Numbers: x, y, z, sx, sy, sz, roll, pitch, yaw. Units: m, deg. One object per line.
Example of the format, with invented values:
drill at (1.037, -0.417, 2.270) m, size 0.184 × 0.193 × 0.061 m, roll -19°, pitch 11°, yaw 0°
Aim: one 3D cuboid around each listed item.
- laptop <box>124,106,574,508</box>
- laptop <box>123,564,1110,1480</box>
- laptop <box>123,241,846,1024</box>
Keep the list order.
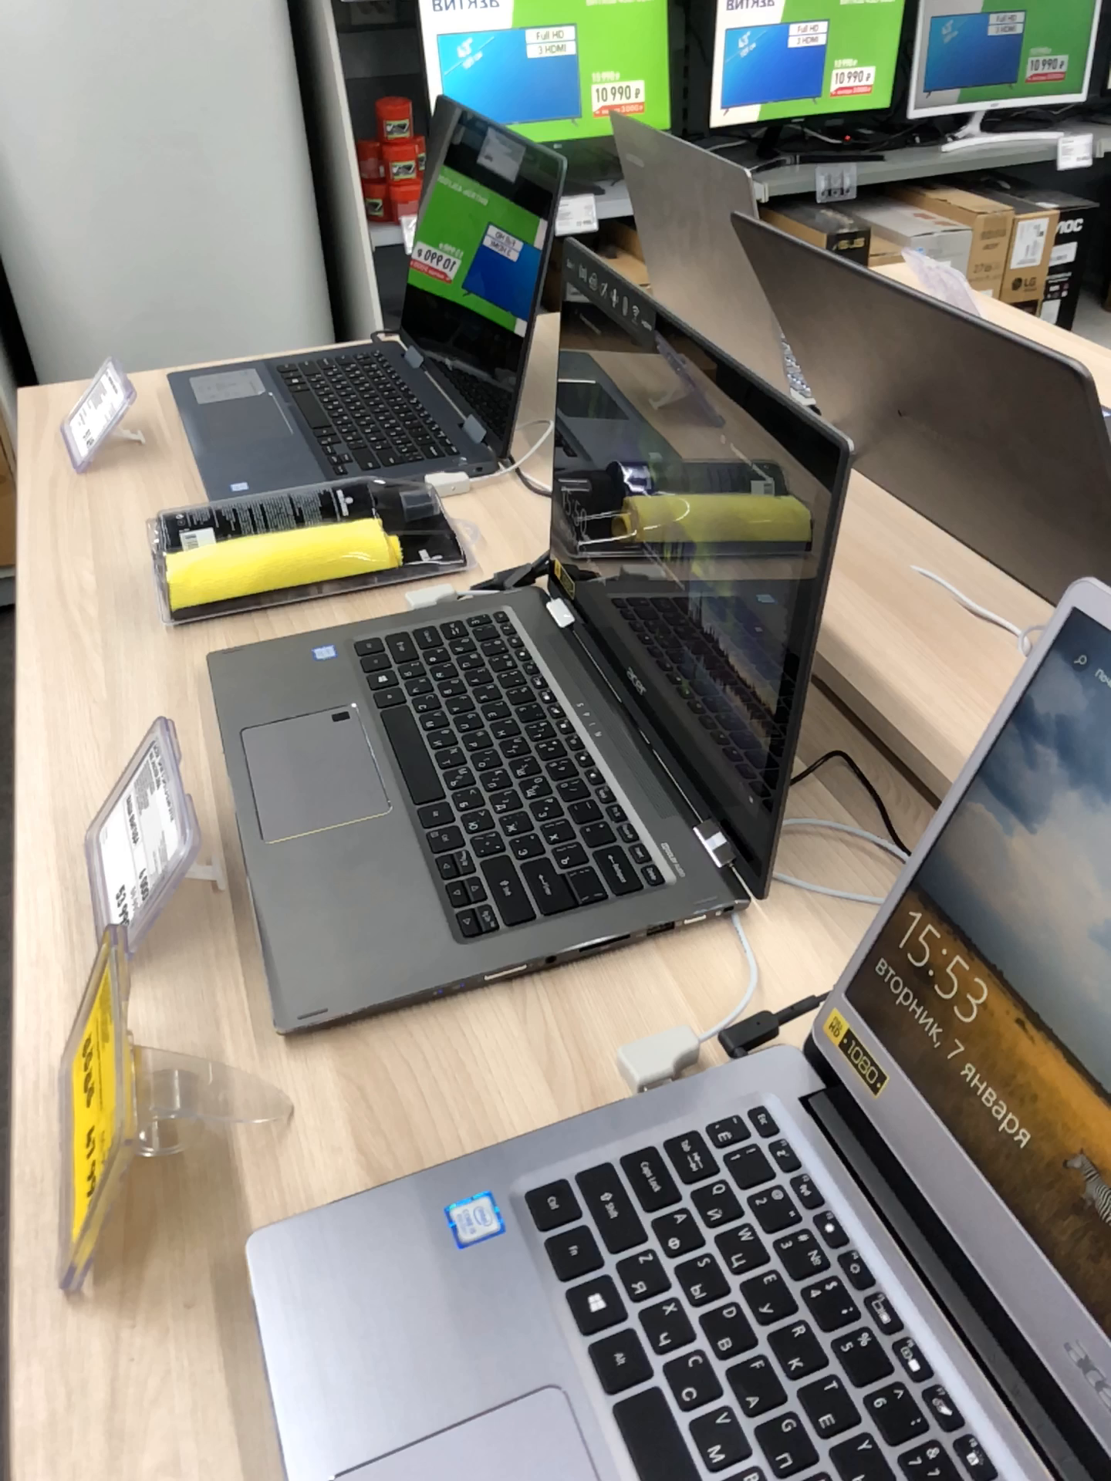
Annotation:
laptop at (-0.183, -0.384, 1.031) m, size 0.288 × 0.215 × 0.341 m, roll -13°, pitch 36°, yaw -14°
laptop at (0.071, 0.129, 0.302) m, size 0.298 × 0.196 × 0.271 m, roll -14°, pitch 35°, yaw -15°
laptop at (-0.056, -0.081, 0.600) m, size 0.245 × 0.215 × 0.316 m, roll -13°, pitch 37°, yaw -13°
